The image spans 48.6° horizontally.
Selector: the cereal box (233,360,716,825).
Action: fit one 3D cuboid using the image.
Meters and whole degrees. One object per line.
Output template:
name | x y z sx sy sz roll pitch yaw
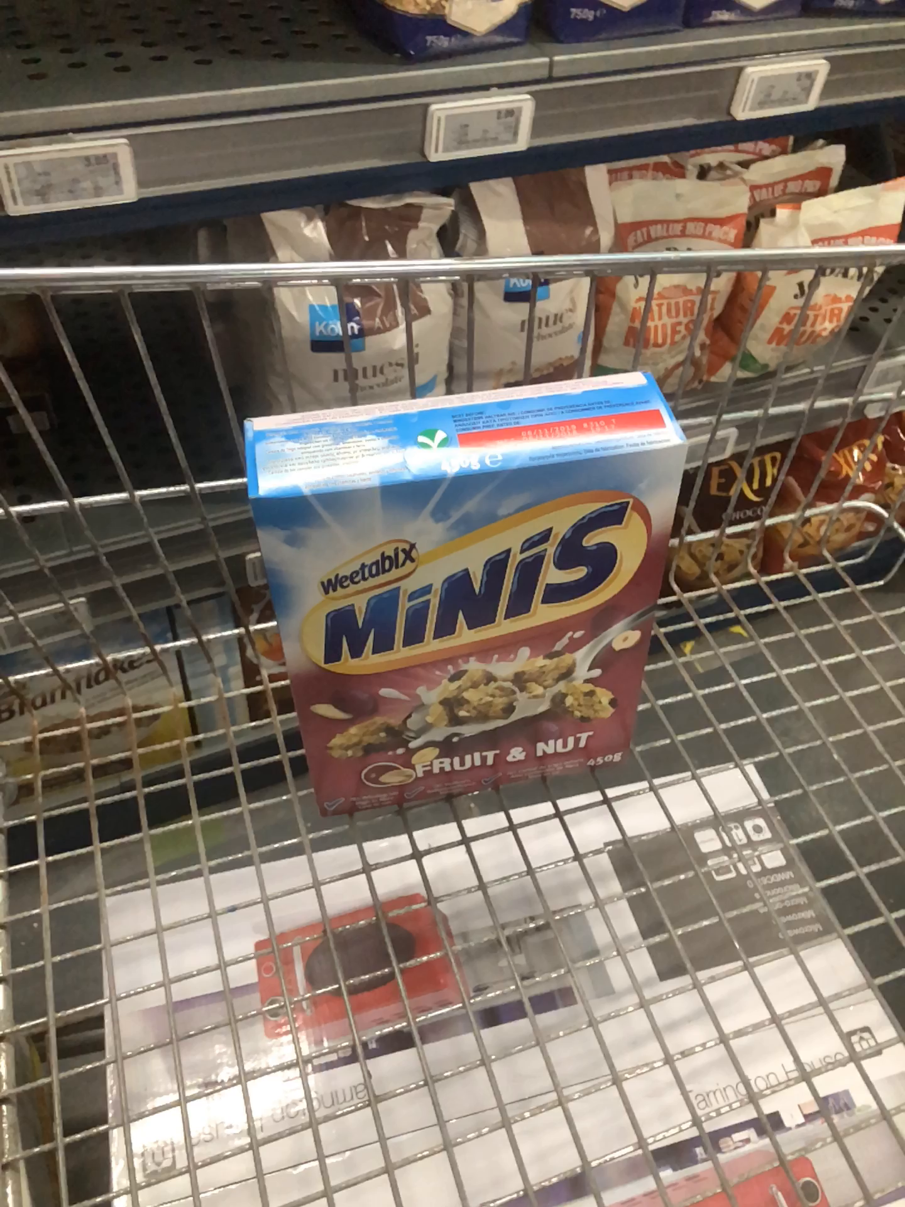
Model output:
cereal box | 0.008 0.006 0.578 0.220 0.259 0.080 -9 48 -8
